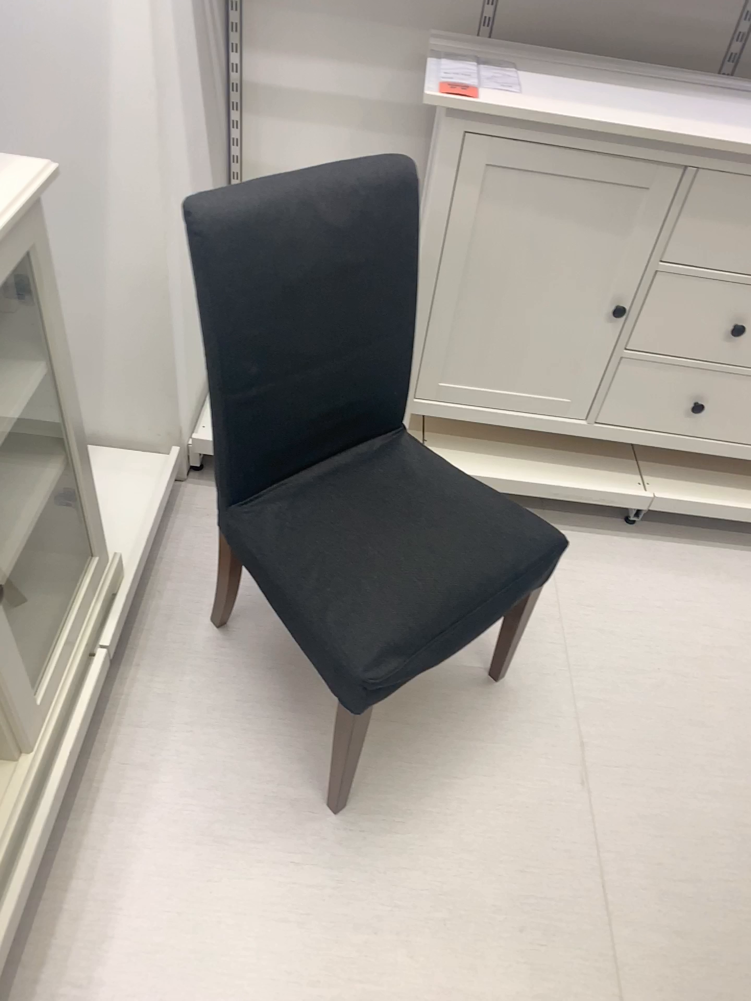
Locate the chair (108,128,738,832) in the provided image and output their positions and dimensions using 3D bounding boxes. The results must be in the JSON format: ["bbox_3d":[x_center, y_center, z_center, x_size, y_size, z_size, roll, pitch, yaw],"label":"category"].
[{"bbox_3d":[0.011,-0.035,1.262,0.541,0.837,0.611,-29,55,-33],"label":"chair"}]
